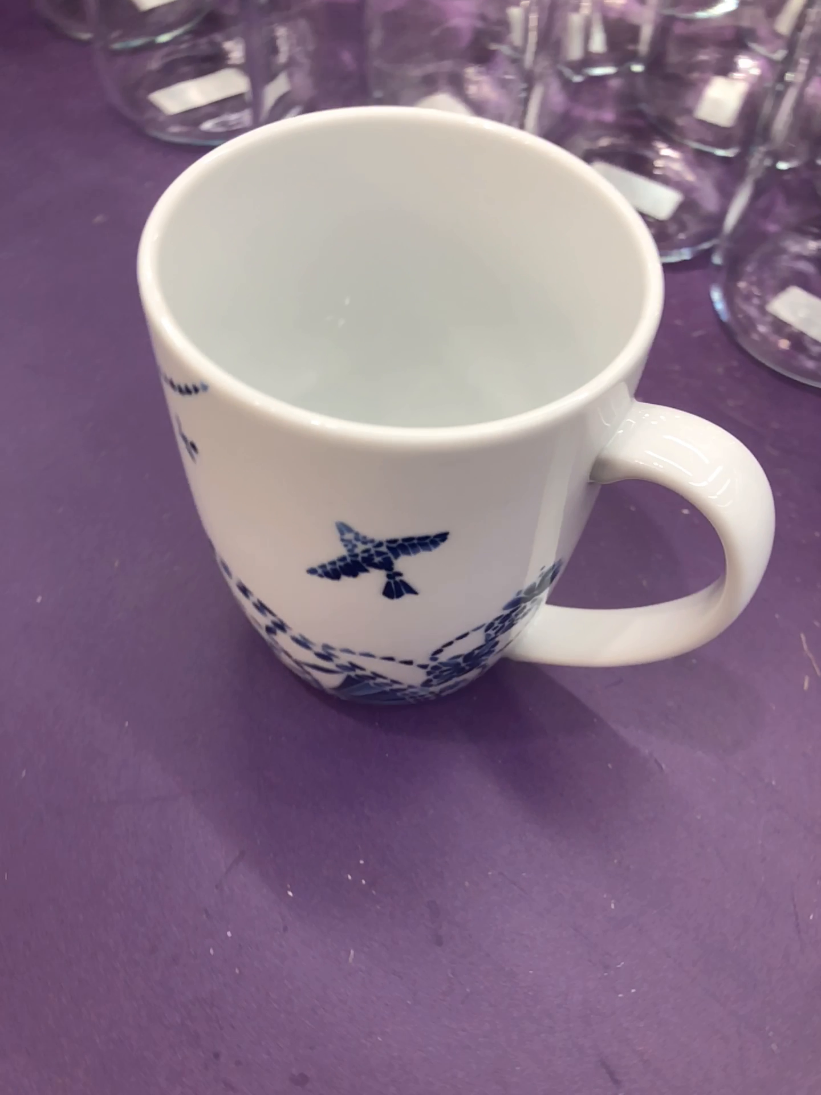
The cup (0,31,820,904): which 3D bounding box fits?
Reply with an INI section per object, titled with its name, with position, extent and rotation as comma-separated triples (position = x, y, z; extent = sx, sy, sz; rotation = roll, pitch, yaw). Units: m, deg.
[cup]
position = 0.010, -0.017, 0.211
extent = 0.140, 0.119, 0.100
rotation = 28, 58, 16
